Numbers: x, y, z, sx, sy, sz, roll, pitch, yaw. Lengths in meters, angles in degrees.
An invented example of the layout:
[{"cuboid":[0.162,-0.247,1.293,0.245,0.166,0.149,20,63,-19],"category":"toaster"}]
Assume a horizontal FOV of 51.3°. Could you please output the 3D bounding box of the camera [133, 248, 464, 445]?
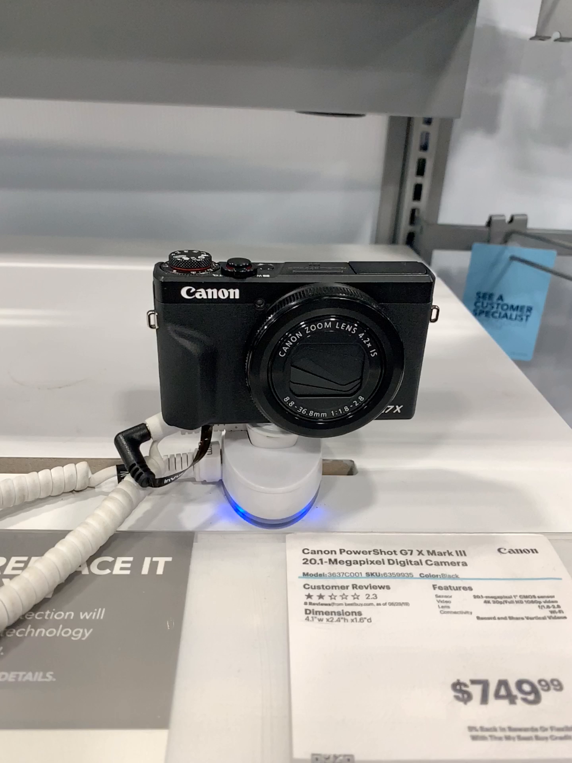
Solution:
[{"cuboid":[0.002,-0.014,0.227,0.110,0.062,0.040,0,26,-8],"category":"camera"}]
